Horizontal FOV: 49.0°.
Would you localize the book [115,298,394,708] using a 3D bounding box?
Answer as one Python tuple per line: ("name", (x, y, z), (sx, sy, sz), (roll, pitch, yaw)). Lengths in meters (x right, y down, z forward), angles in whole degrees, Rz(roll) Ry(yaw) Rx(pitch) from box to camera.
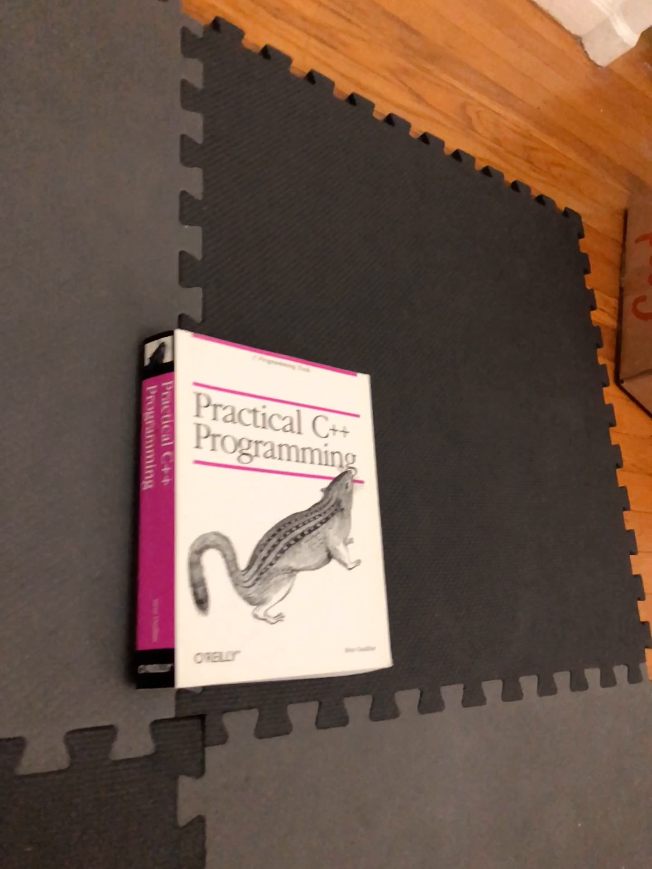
("book", (-0.044, 0.053, 0.517), (0.201, 0.050, 0.250), (13, 68, -43))
